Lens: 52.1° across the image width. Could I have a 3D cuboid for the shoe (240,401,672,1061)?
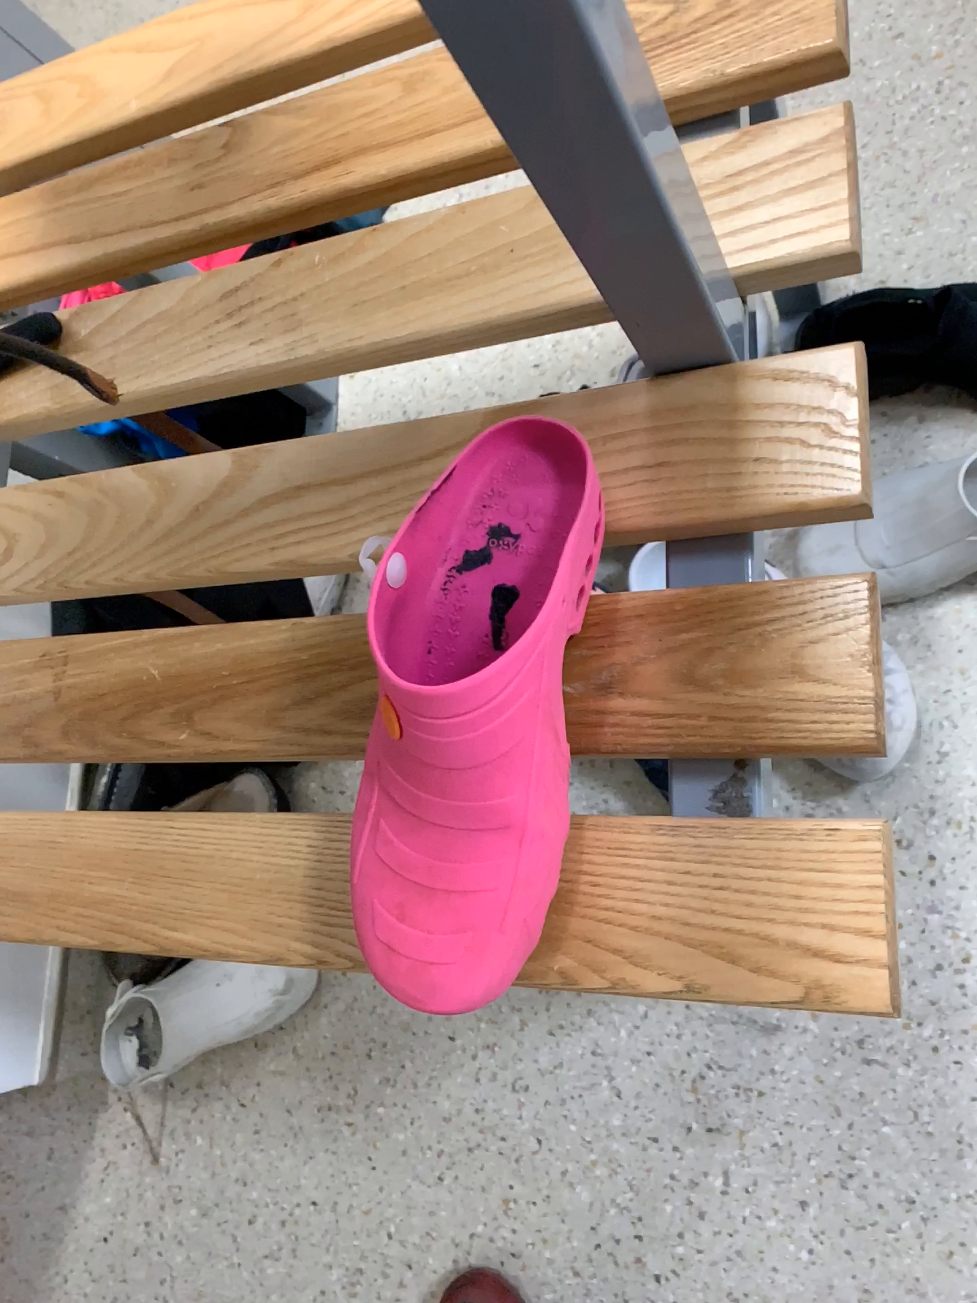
[{"bbox_3d":[-0.009,0.024,0.385,0.097,0.068,0.220,11,84,28],"label":"shoe"}]
